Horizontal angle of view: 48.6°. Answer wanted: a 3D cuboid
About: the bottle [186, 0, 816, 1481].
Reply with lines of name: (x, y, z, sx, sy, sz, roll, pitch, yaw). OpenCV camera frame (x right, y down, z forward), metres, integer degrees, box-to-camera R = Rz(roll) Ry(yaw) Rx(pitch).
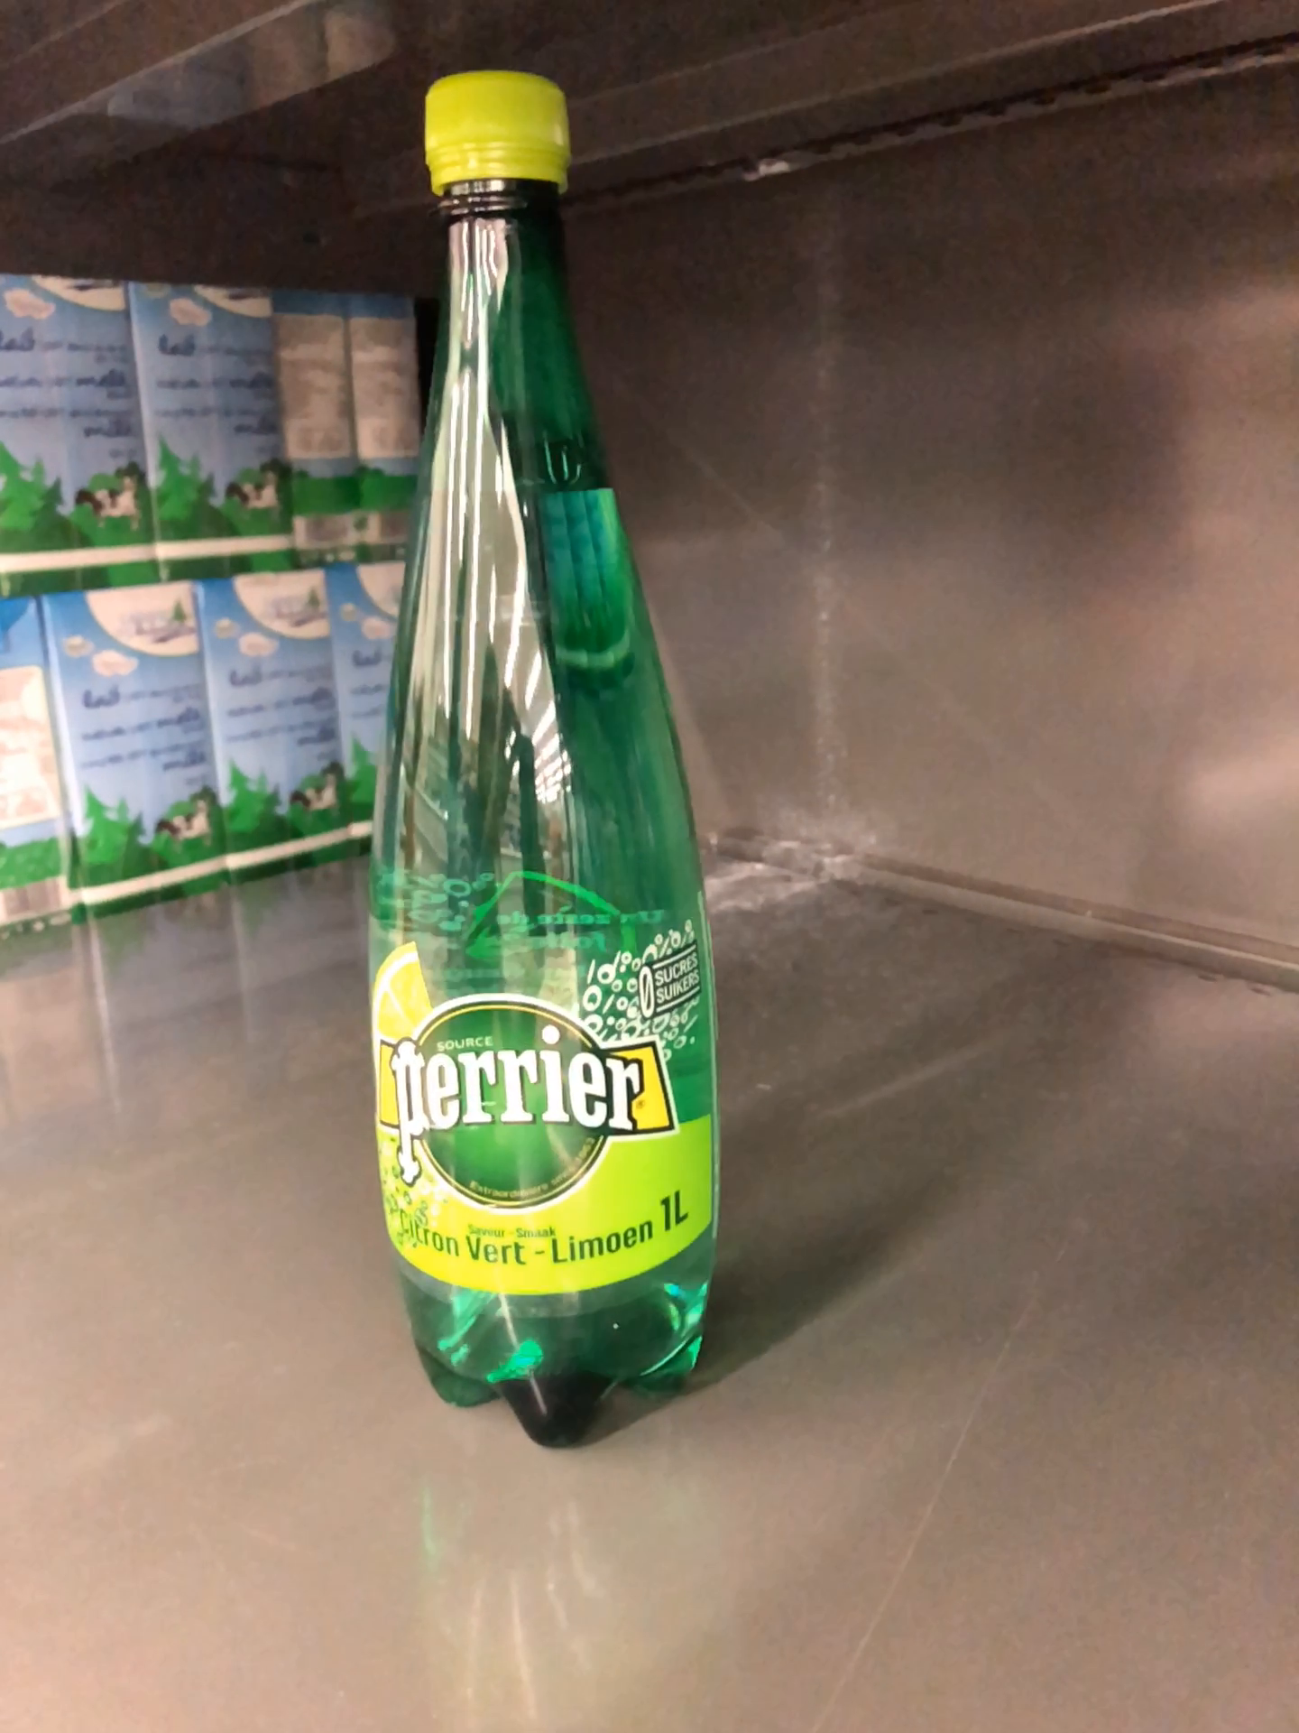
bottle: (-0.021, -0.023, 0.338, 0.100, 0.299, 0.090, 3, 16, 20)
